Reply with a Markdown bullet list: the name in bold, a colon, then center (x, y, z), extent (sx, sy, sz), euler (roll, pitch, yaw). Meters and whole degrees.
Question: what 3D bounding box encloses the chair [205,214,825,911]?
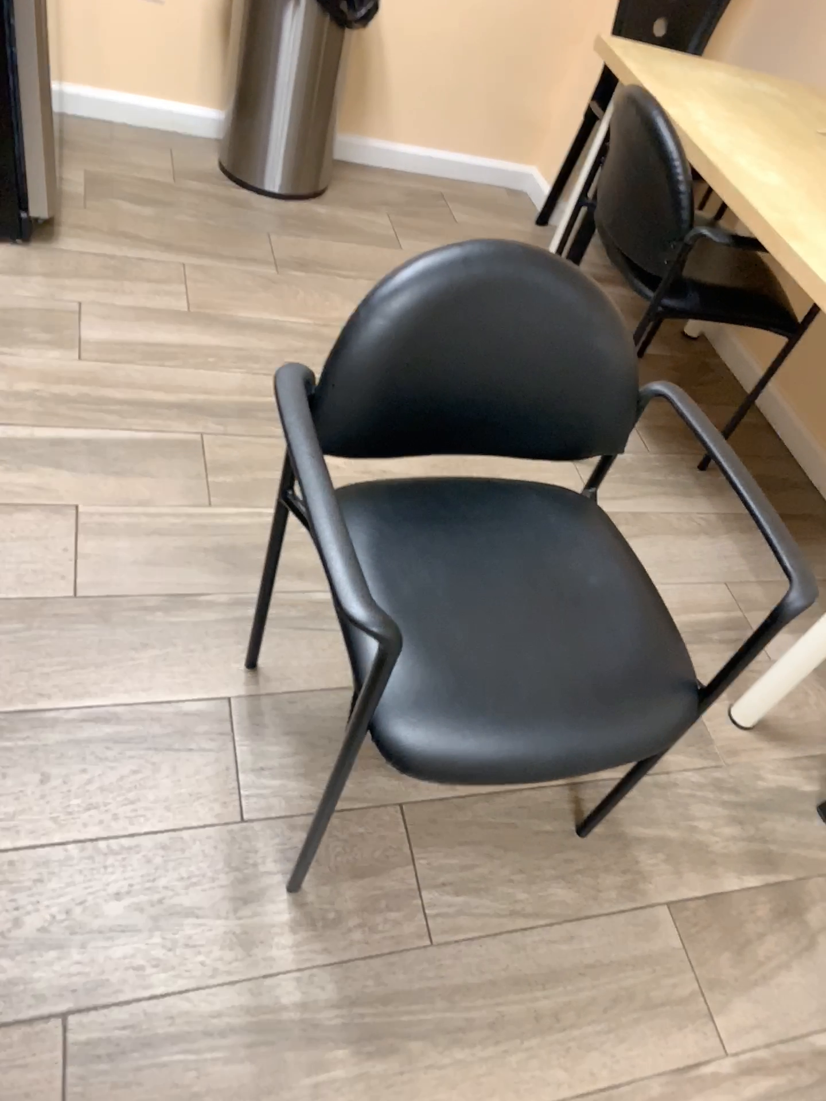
- **chair**: center (0.079, 0.047, 1.154), extent (0.591, 0.736, 0.522), euler (-3, 50, -23)
